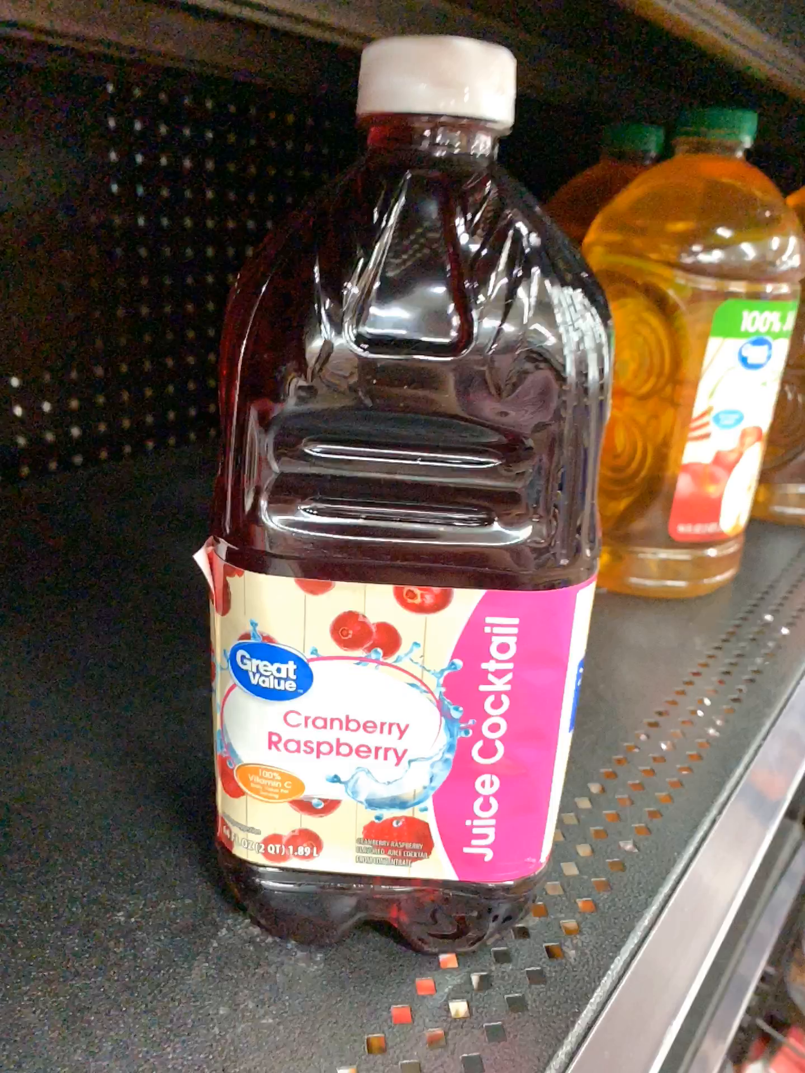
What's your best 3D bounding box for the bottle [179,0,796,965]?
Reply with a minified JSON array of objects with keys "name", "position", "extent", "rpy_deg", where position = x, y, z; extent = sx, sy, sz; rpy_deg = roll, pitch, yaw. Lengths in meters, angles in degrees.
[{"name":"bottle","position":[0.008,-0.006,0.265],"extent":[0.125,0.259,0.100],"rpy_deg":[5,23,-1]}]
